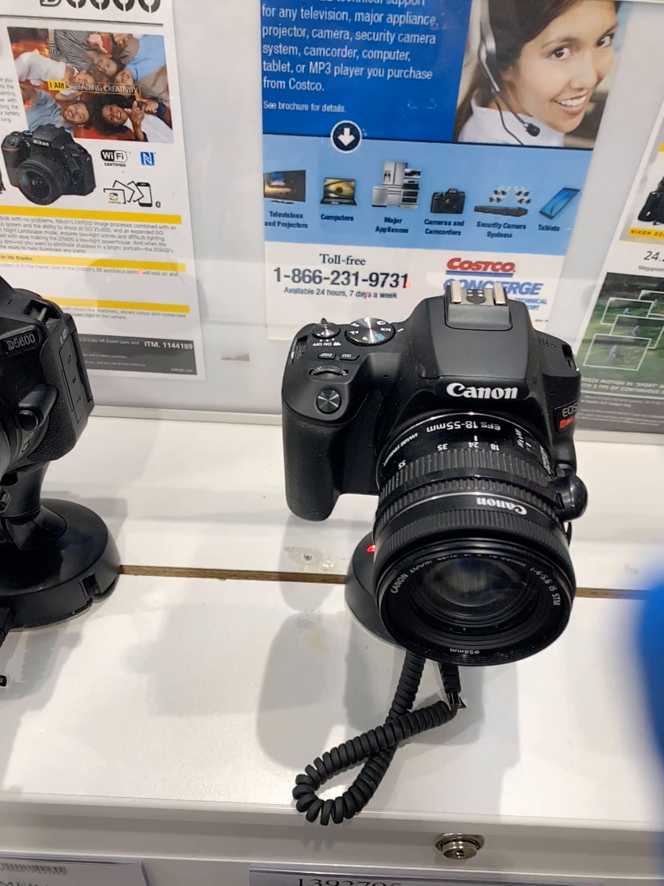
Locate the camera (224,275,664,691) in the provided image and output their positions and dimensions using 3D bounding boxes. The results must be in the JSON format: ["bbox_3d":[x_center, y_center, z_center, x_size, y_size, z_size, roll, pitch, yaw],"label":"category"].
[{"bbox_3d":[0.036,0.009,0.240,0.120,0.089,0.111,2,40,2],"label":"camera"}]
